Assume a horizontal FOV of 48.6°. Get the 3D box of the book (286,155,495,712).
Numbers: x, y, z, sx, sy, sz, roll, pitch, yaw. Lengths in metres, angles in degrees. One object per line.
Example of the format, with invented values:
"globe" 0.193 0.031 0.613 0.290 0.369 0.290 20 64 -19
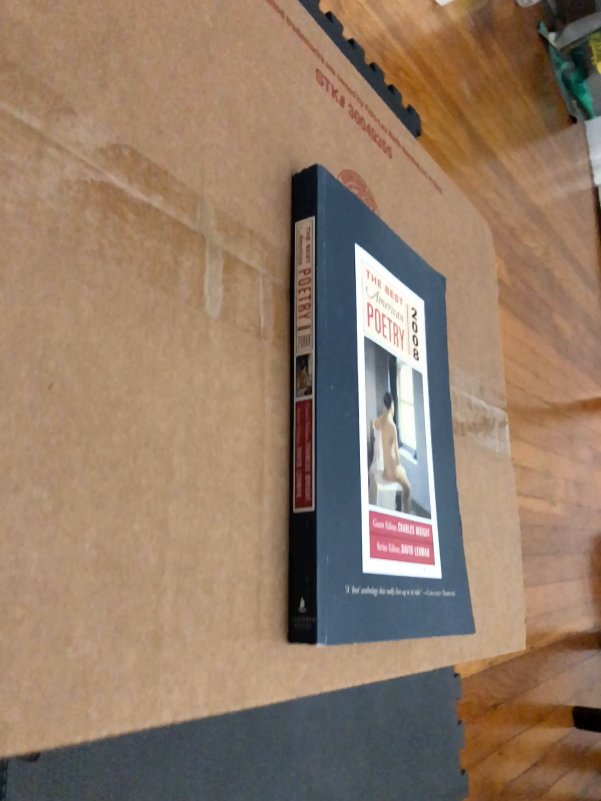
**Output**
"book" 0.048 0.018 0.331 0.151 0.020 0.230 21 63 -51
